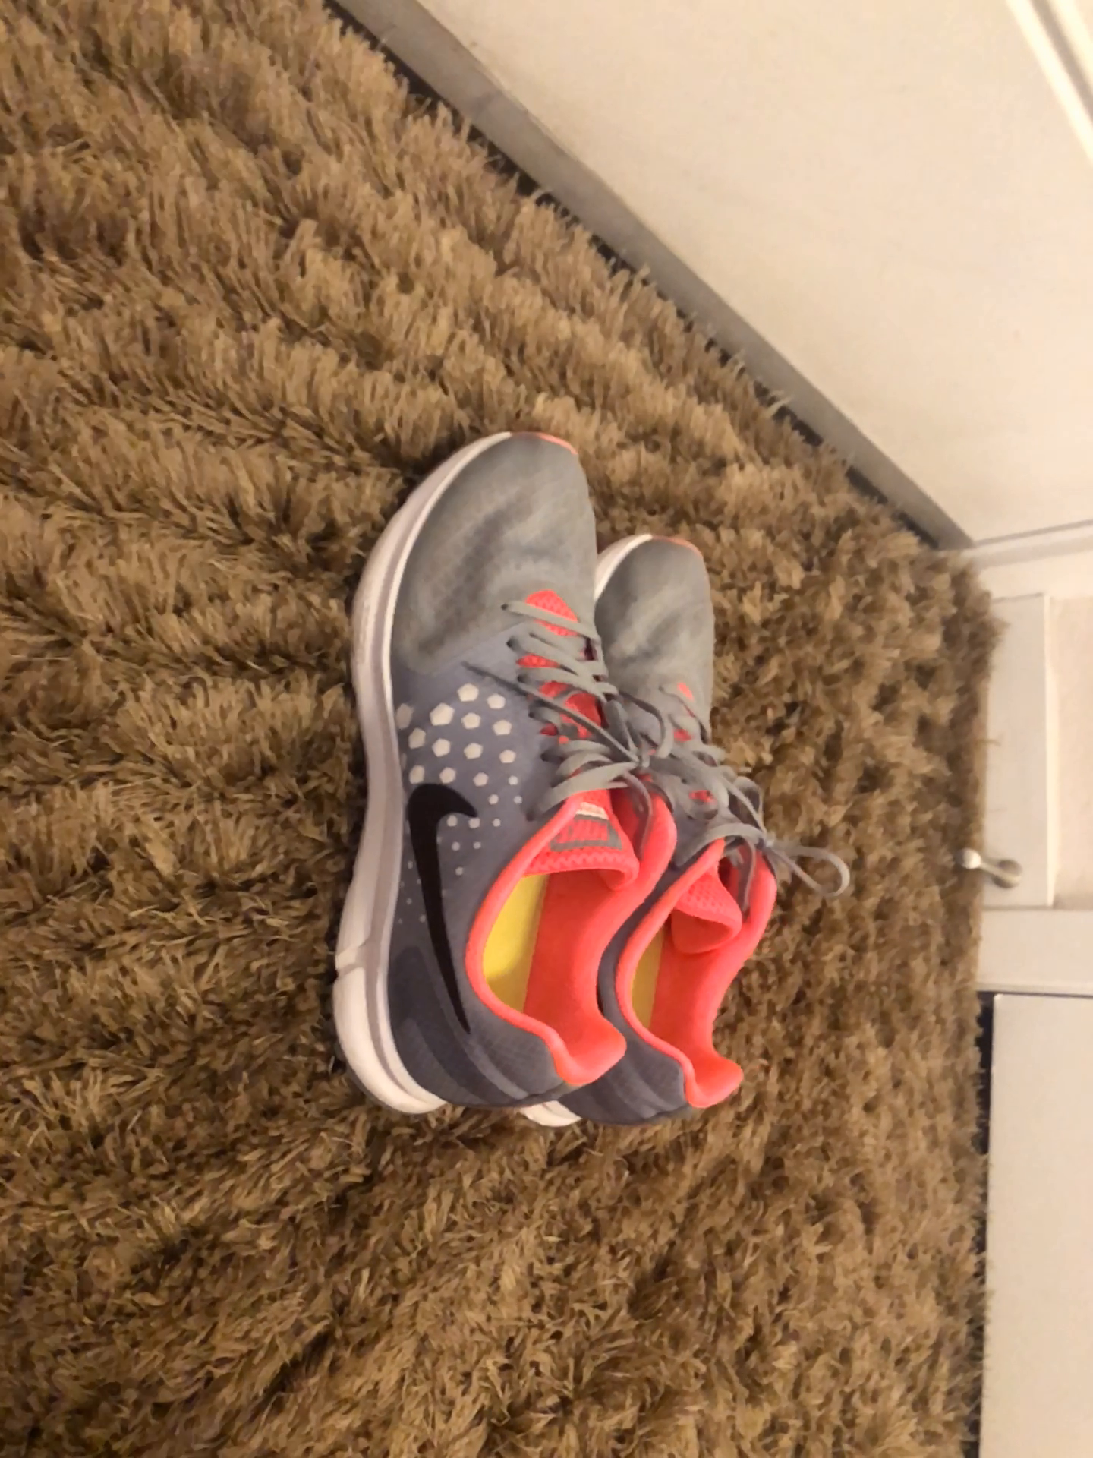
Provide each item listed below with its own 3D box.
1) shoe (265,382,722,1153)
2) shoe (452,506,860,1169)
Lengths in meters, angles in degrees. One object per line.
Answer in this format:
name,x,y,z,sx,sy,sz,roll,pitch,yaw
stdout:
shoe,-0.015,0.021,0.496,0.114,0.121,0.270,19,70,-48
shoe,0.059,0.054,0.570,0.119,0.118,0.270,26,65,-46
